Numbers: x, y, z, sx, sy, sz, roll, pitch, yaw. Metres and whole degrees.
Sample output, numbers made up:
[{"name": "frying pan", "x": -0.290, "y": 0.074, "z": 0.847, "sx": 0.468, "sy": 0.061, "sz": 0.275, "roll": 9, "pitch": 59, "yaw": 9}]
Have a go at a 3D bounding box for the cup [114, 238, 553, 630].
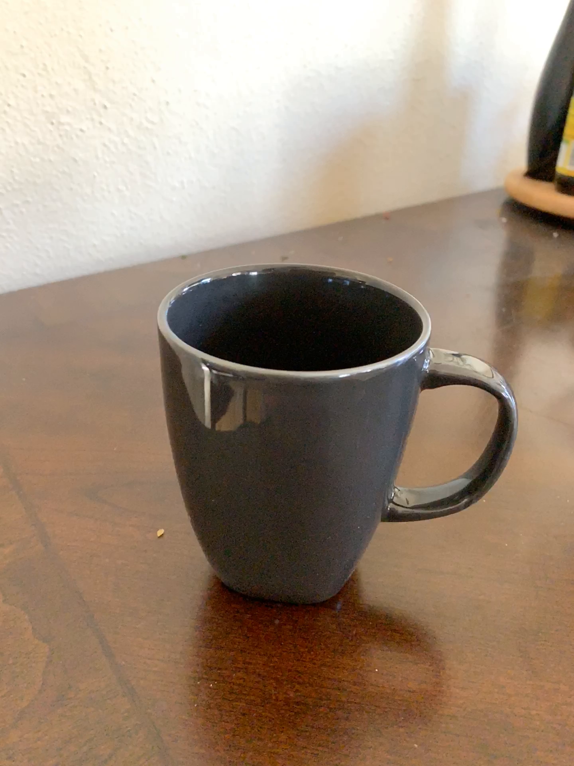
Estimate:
[{"name": "cup", "x": 0.014, "y": 0.012, "z": 0.208, "sx": 0.107, "sy": 0.096, "sz": 0.089, "roll": 3, "pitch": 31, "yaw": 4}]
